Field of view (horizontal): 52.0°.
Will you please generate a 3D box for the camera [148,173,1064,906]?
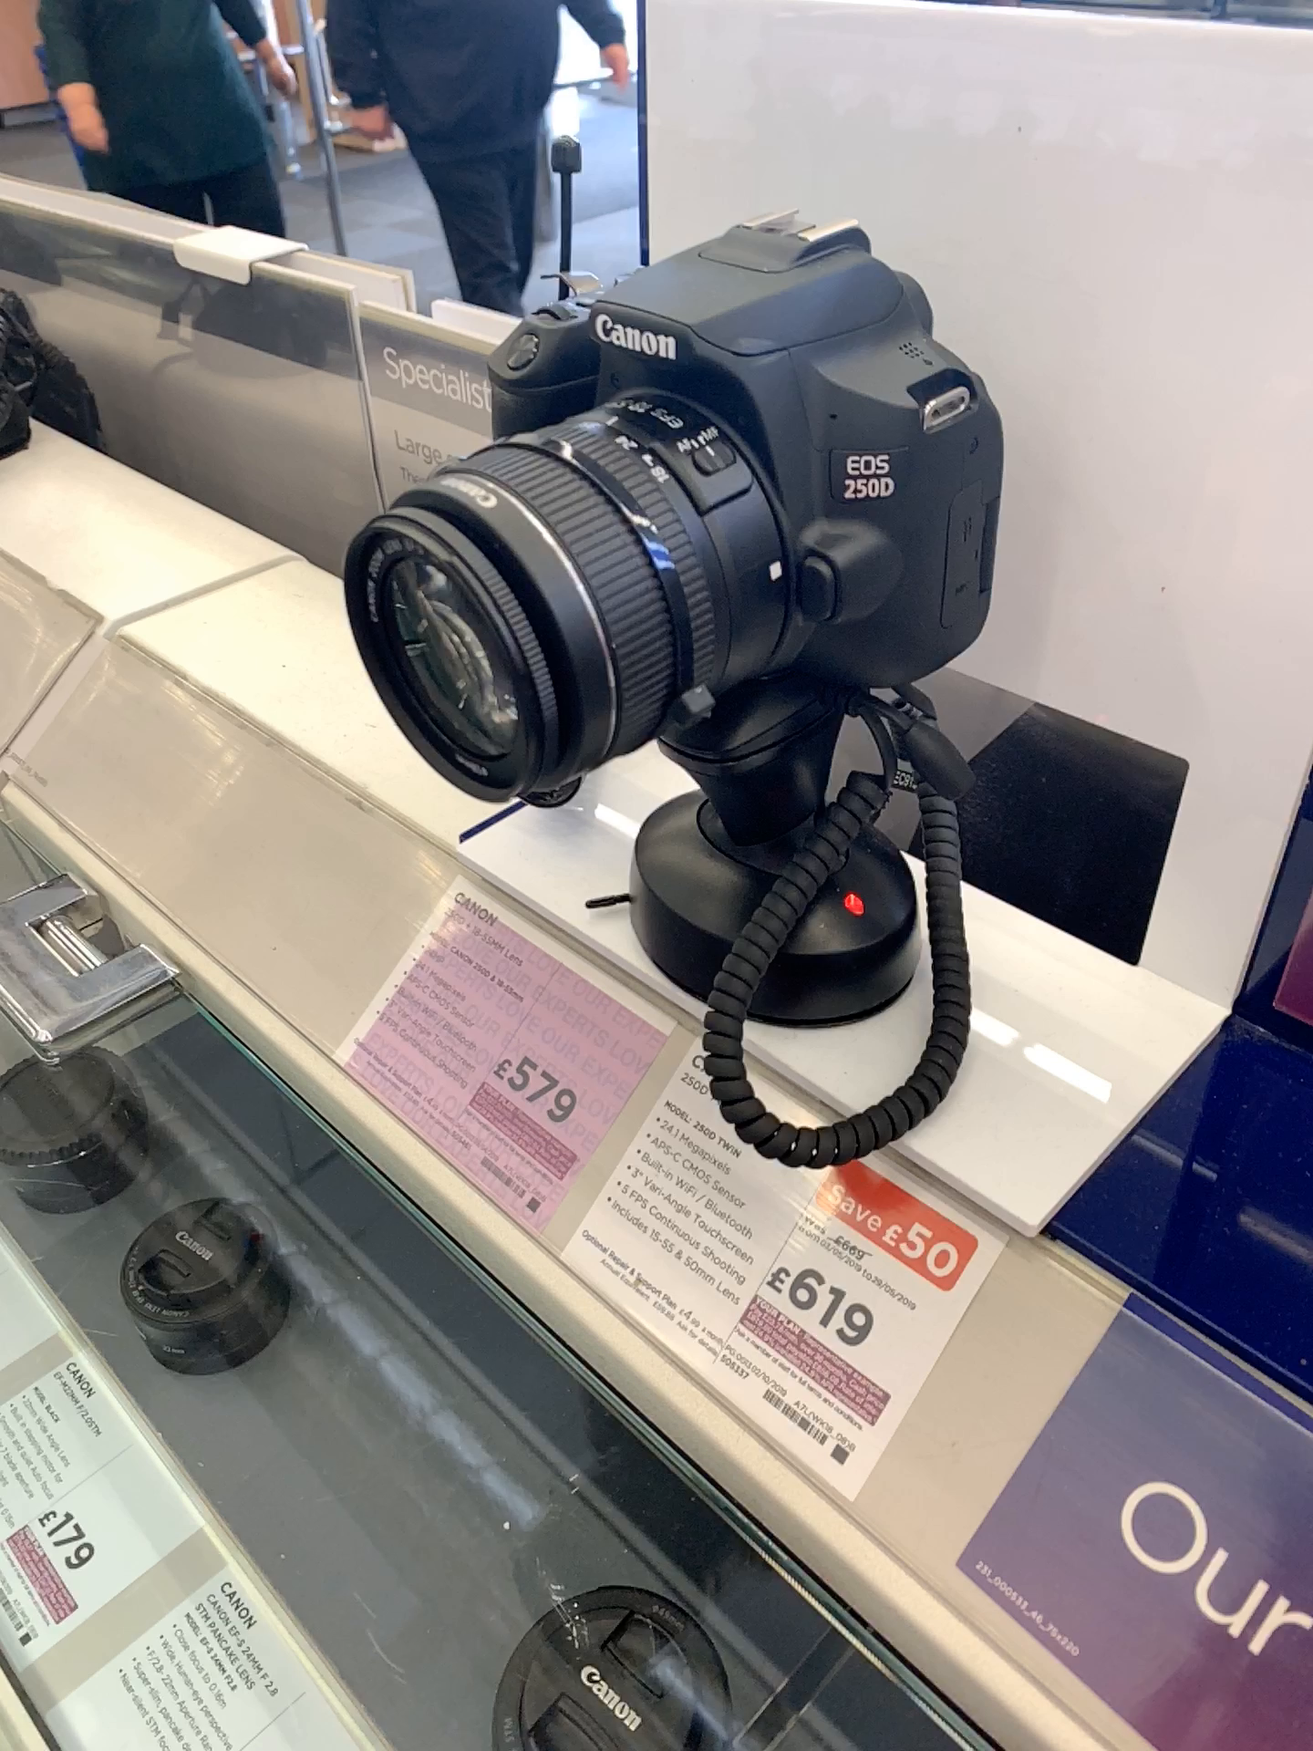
[{"bbox_3d":[-0.007,-0.087,0.297,0.121,0.089,0.141,29,47,34],"label":"camera"}]
